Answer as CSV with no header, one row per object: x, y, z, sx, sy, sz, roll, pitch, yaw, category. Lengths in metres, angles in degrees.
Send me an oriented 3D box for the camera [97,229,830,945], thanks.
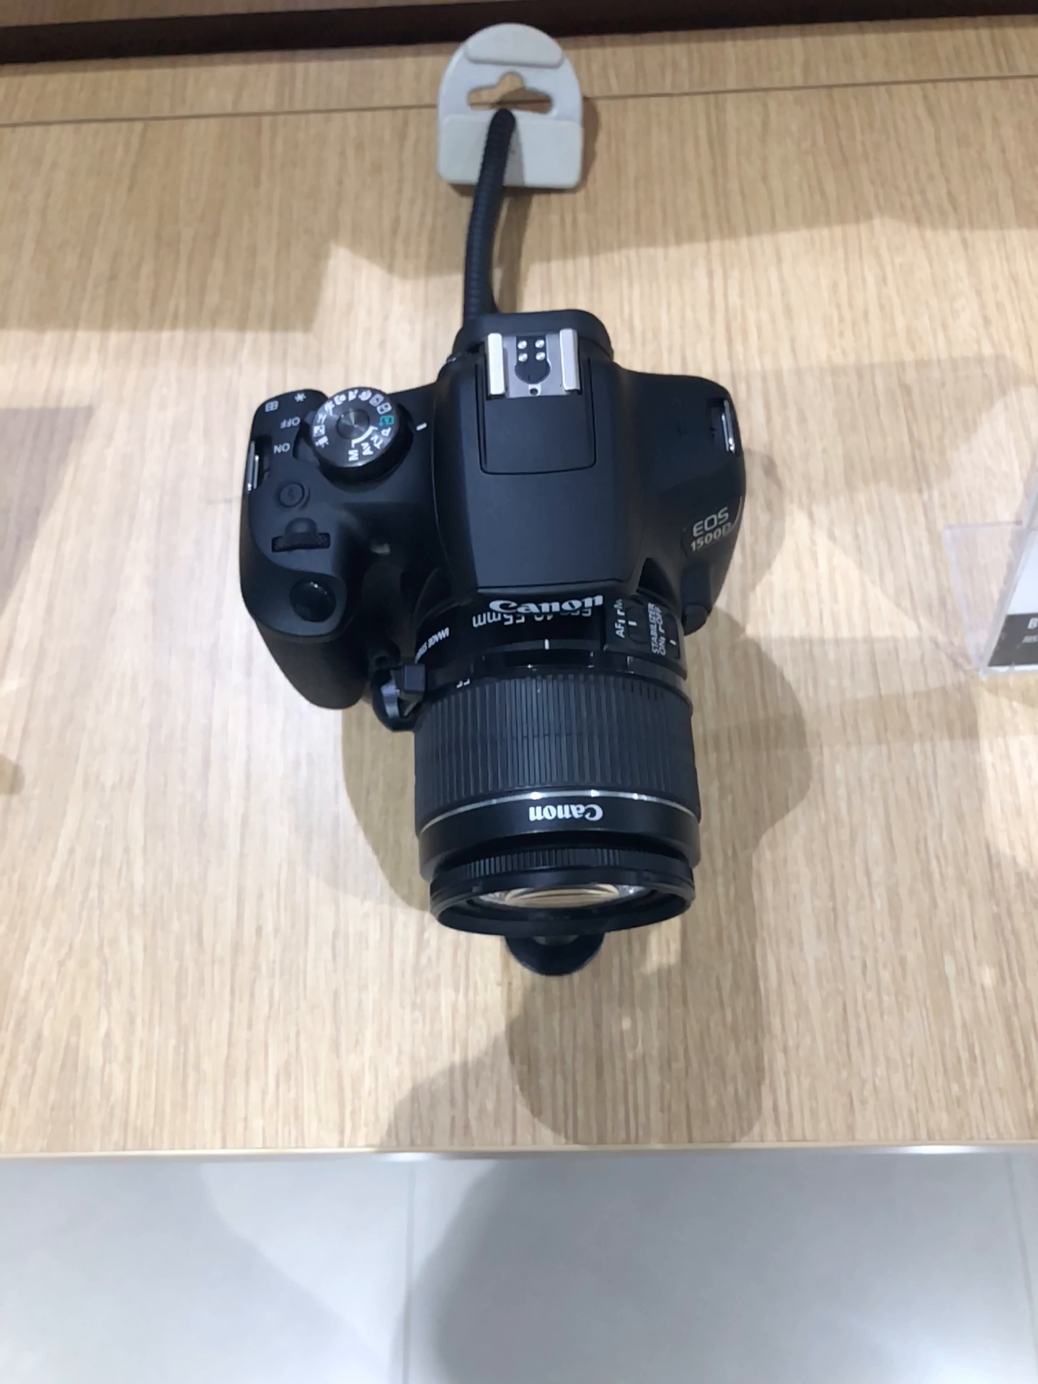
-0.008,-0.020,0.274,0.130,0.090,0.140,-1,66,3,camera
